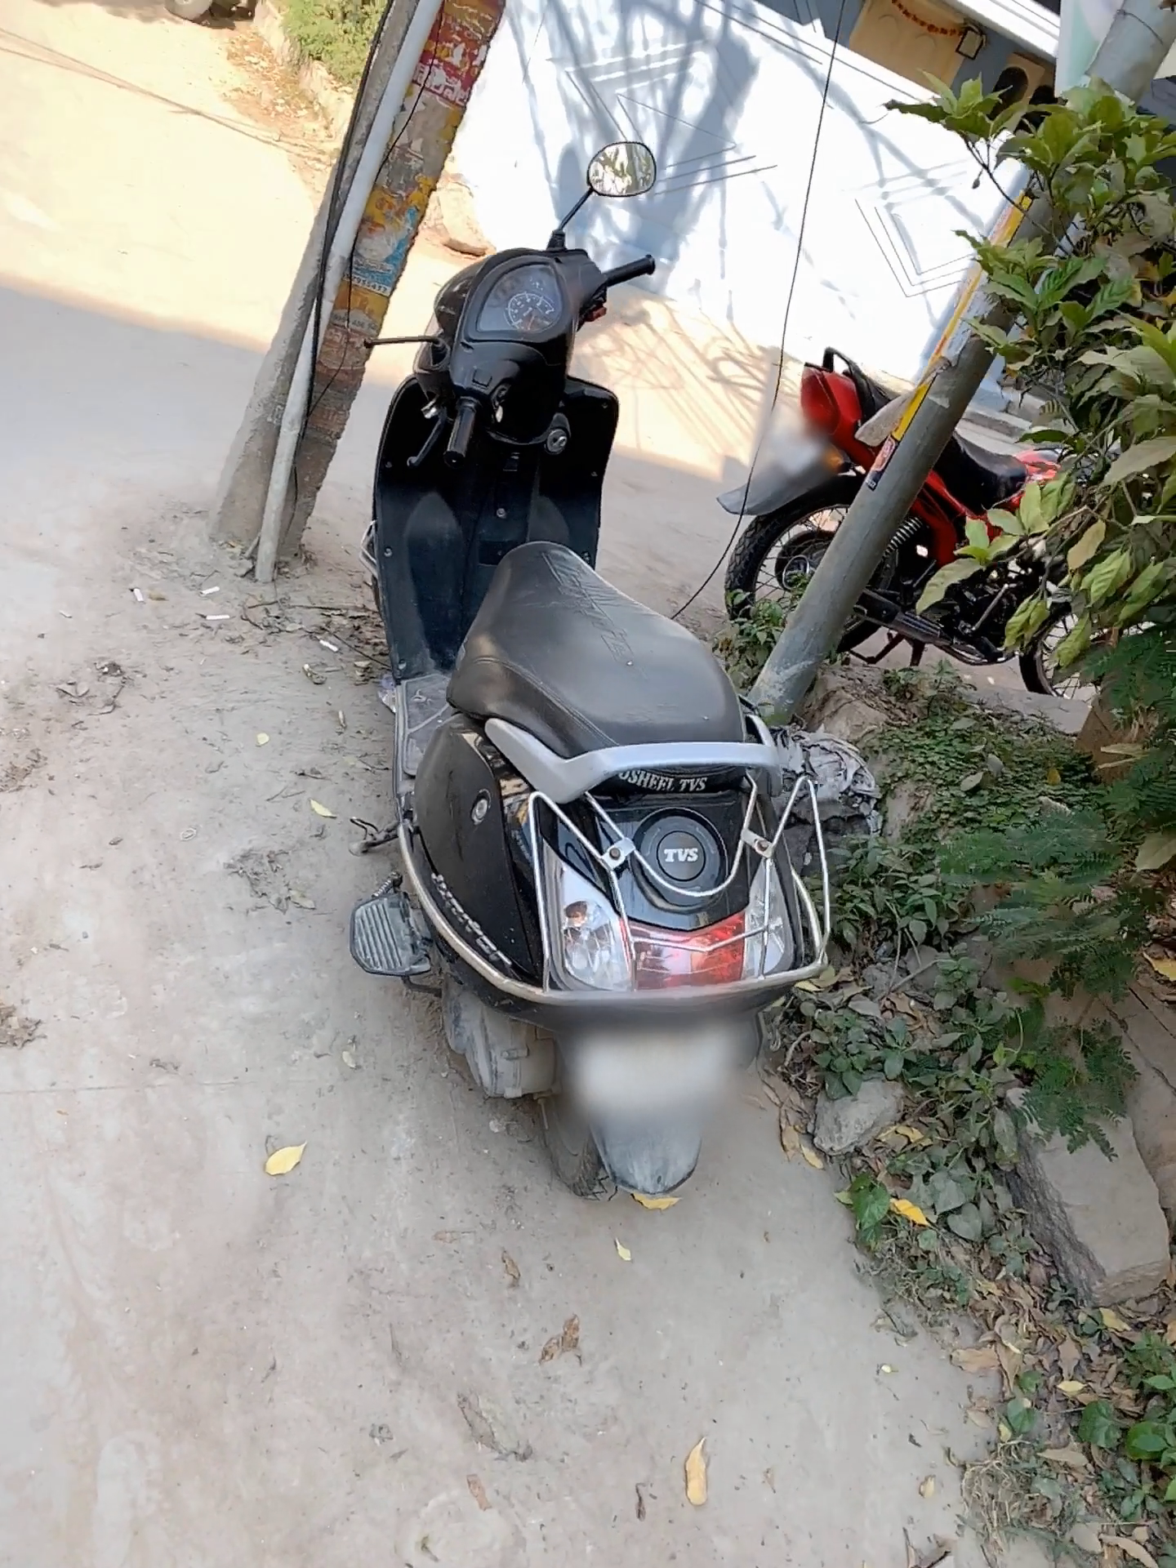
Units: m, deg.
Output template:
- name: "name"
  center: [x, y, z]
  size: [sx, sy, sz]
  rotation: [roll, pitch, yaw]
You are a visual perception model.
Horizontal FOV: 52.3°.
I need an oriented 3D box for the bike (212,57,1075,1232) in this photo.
- name: "bike"
  center: [-0.174, -0.383, 2.010]
  size: [0.620, 0.943, 1.821]
  rotation: [8, 37, -27]
